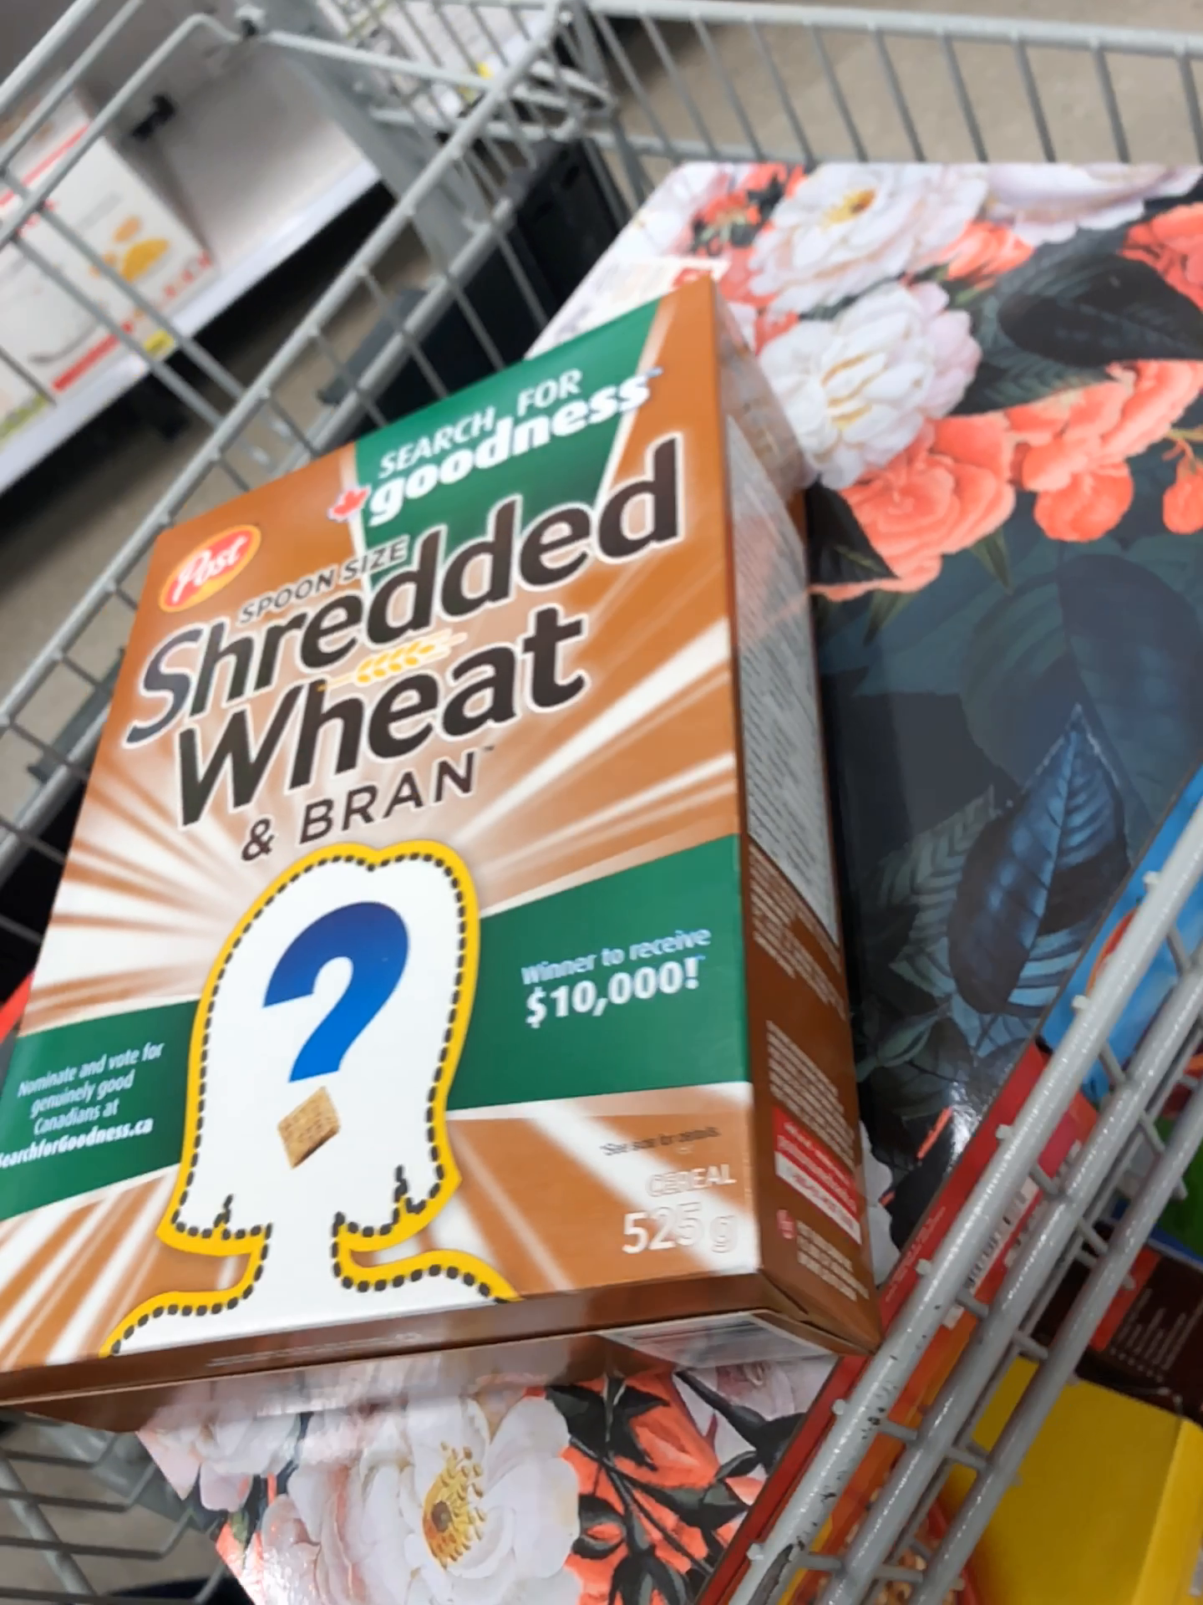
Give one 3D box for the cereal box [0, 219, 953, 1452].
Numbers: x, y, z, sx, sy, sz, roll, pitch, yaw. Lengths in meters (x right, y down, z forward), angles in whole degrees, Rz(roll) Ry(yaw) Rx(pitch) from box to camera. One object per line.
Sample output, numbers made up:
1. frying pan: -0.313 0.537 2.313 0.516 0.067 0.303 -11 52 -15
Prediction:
1. cereal box: -0.045 -0.004 0.369 0.220 0.070 0.300 -17 48 22
